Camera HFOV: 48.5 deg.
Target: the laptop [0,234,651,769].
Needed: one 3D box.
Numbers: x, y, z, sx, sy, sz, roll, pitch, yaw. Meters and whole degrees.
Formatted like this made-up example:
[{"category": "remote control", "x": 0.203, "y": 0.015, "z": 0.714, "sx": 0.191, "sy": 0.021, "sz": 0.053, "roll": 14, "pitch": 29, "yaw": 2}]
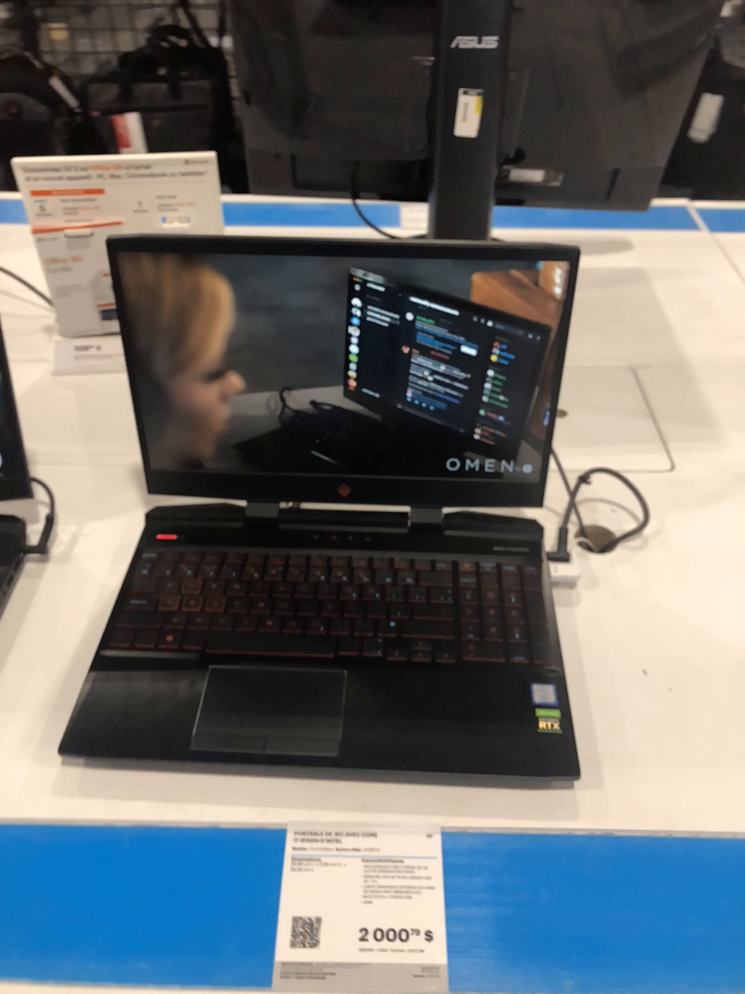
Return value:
[{"category": "laptop", "x": -0.030, "y": -0.008, "z": 0.603, "sx": 0.355, "sy": 0.239, "sz": 0.294, "roll": 2, "pitch": 42, "yaw": 2}]
